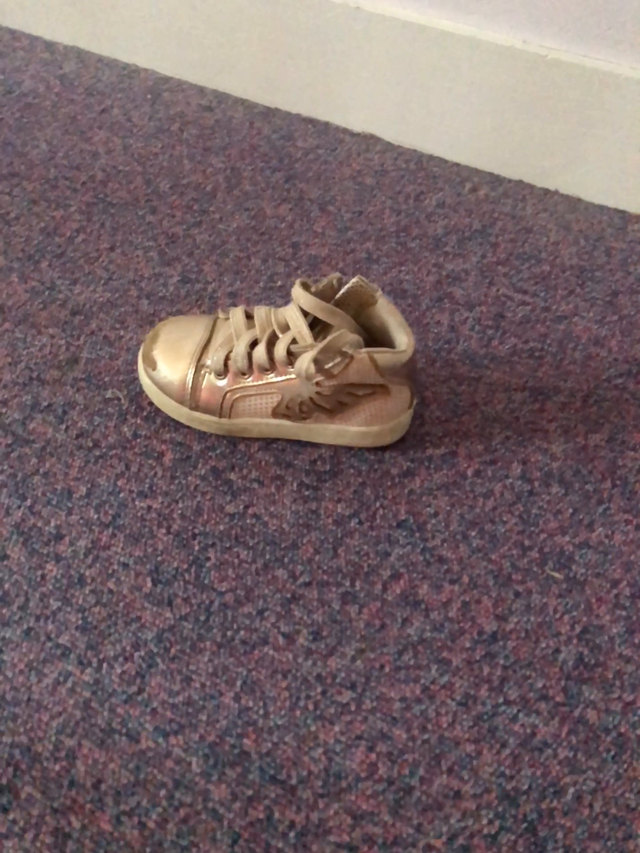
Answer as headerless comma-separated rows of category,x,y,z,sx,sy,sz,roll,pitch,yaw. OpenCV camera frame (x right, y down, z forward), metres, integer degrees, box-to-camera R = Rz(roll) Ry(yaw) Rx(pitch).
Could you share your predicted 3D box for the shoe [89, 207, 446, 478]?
shoe,-0.021,-0.043,0.358,0.150,0.080,0.080,11,53,5
